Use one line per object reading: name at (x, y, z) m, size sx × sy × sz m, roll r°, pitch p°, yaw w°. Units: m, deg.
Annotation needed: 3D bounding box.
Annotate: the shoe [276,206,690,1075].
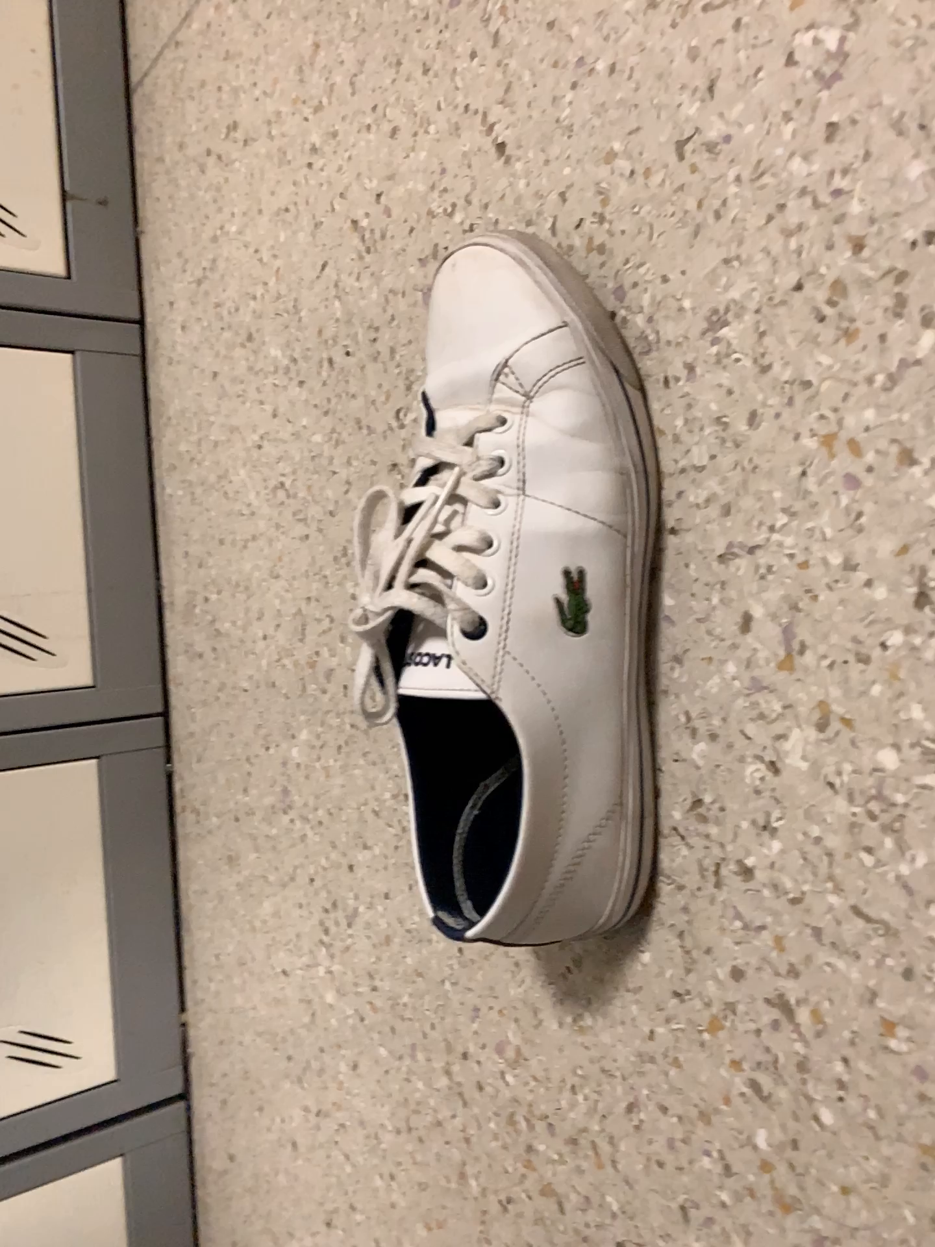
shoe at (0.003, 0.004, 0.341) m, size 0.101 × 0.089 × 0.250 m, roll -3°, pitch 91°, yaw 55°
